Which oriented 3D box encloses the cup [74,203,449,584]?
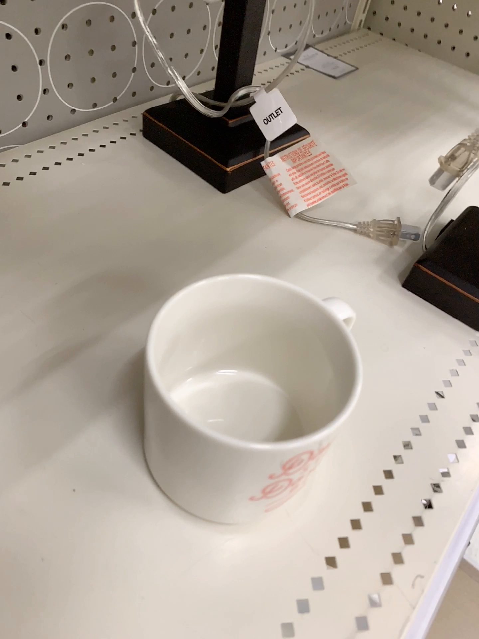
[{"bbox_3d":[0.012,0.028,0.256,0.100,0.090,0.151,39,53,20],"label":"cup"}]
